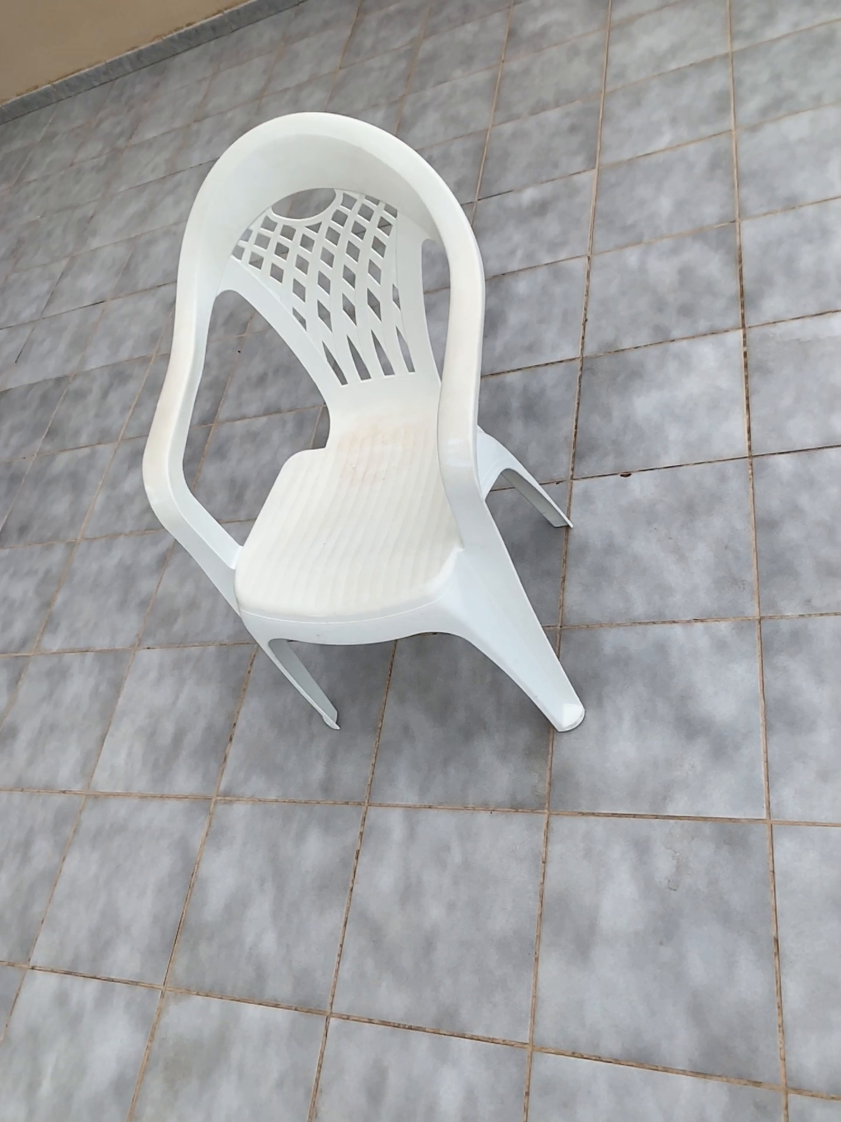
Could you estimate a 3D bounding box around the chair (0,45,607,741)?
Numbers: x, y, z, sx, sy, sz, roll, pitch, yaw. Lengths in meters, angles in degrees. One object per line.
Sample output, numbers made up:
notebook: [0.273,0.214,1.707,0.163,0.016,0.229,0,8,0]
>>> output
chair: [-0.081,-0.160,1.358,0.545,0.822,0.610,-4,57,24]
